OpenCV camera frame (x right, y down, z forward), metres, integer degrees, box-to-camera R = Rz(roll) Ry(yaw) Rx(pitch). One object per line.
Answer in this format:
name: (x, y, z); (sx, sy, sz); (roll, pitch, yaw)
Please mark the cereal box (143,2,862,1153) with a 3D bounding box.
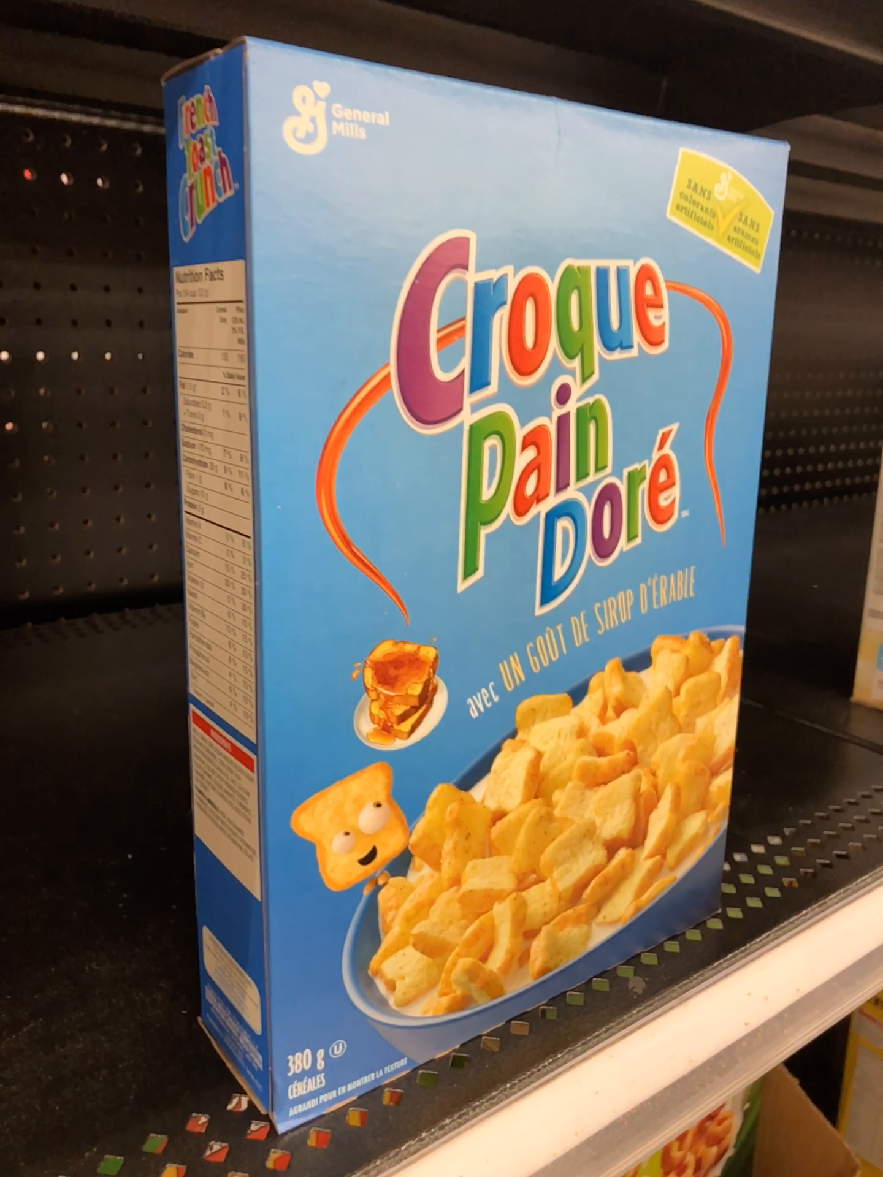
cereal box: (0.027, -0.004, 0.306); (0.210, 0.269, 0.060); (-9, 18, -35)
